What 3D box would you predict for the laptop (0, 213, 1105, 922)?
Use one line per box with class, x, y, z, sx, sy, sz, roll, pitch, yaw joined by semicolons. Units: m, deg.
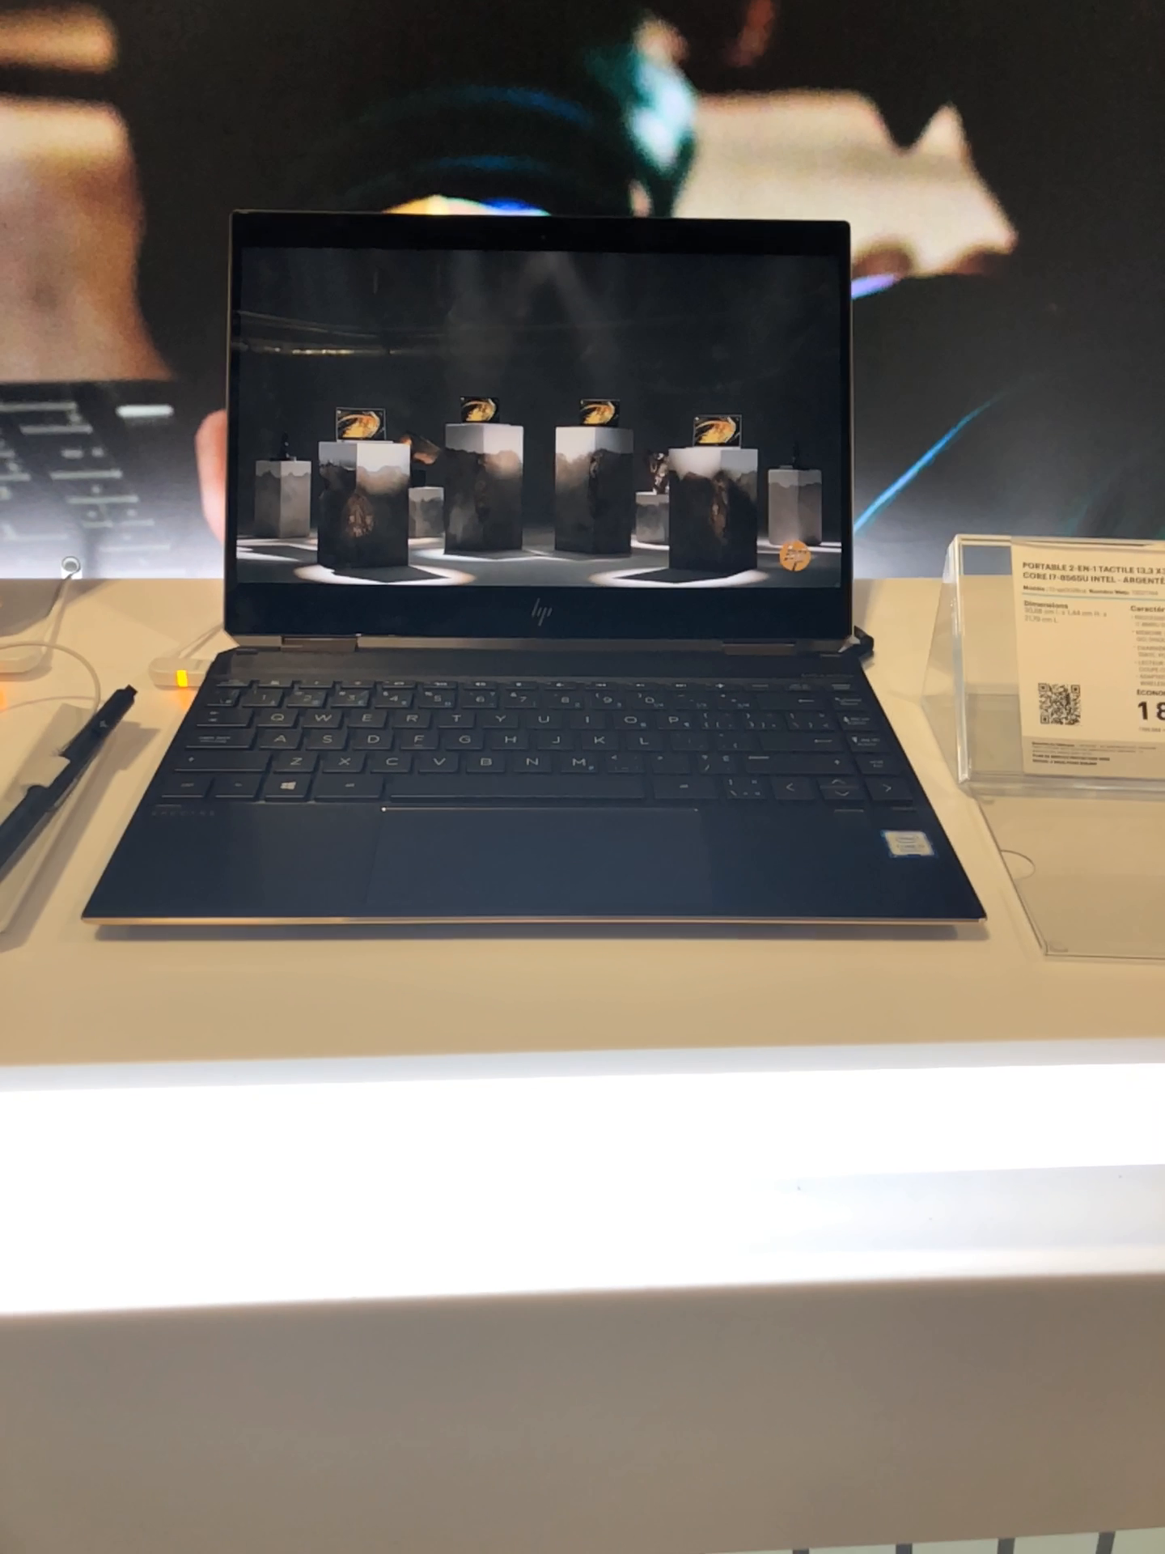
laptop;-0.016;-0.116;0.531;0.305;0.172;0.347;0;30;-2
